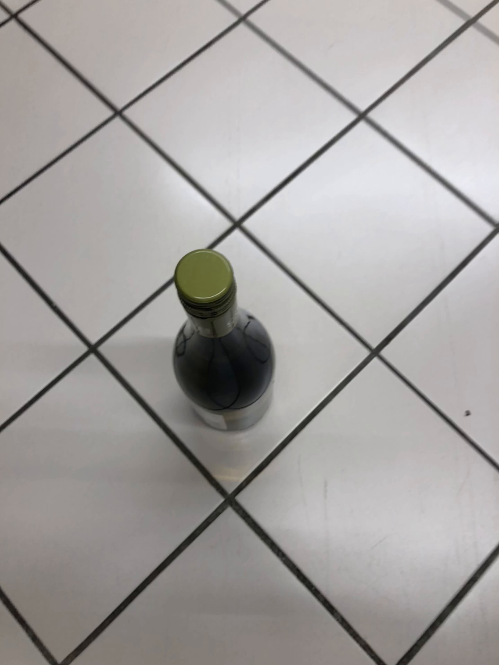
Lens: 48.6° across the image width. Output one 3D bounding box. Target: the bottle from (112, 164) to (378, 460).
[{"bbox_3d":[-0.002,0.016,0.397,0.090,0.279,0.090,0,73,0],"label":"bottle"}]
